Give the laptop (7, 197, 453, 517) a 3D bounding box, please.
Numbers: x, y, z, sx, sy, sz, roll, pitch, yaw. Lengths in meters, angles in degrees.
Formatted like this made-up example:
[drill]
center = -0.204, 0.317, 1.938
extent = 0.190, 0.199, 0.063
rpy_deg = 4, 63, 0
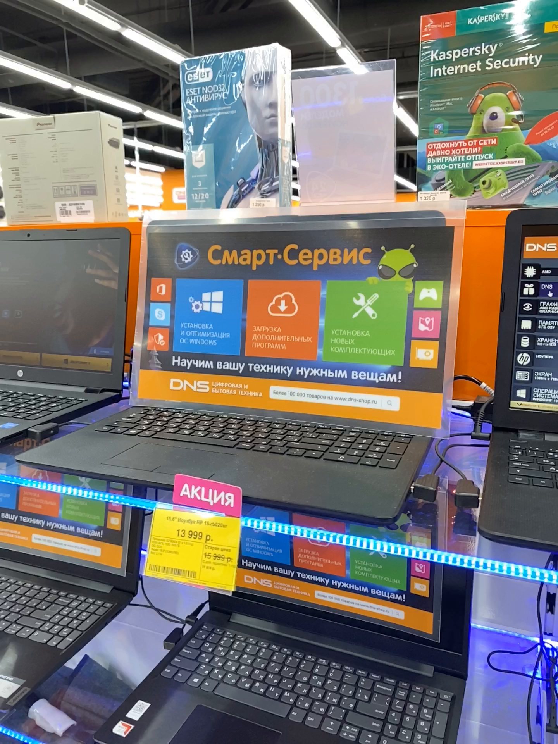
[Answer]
[laptop]
center = -0.033, -0.043, 0.605
extent = 0.377, 0.235, 0.262
rpy_deg = 4, 13, 23
